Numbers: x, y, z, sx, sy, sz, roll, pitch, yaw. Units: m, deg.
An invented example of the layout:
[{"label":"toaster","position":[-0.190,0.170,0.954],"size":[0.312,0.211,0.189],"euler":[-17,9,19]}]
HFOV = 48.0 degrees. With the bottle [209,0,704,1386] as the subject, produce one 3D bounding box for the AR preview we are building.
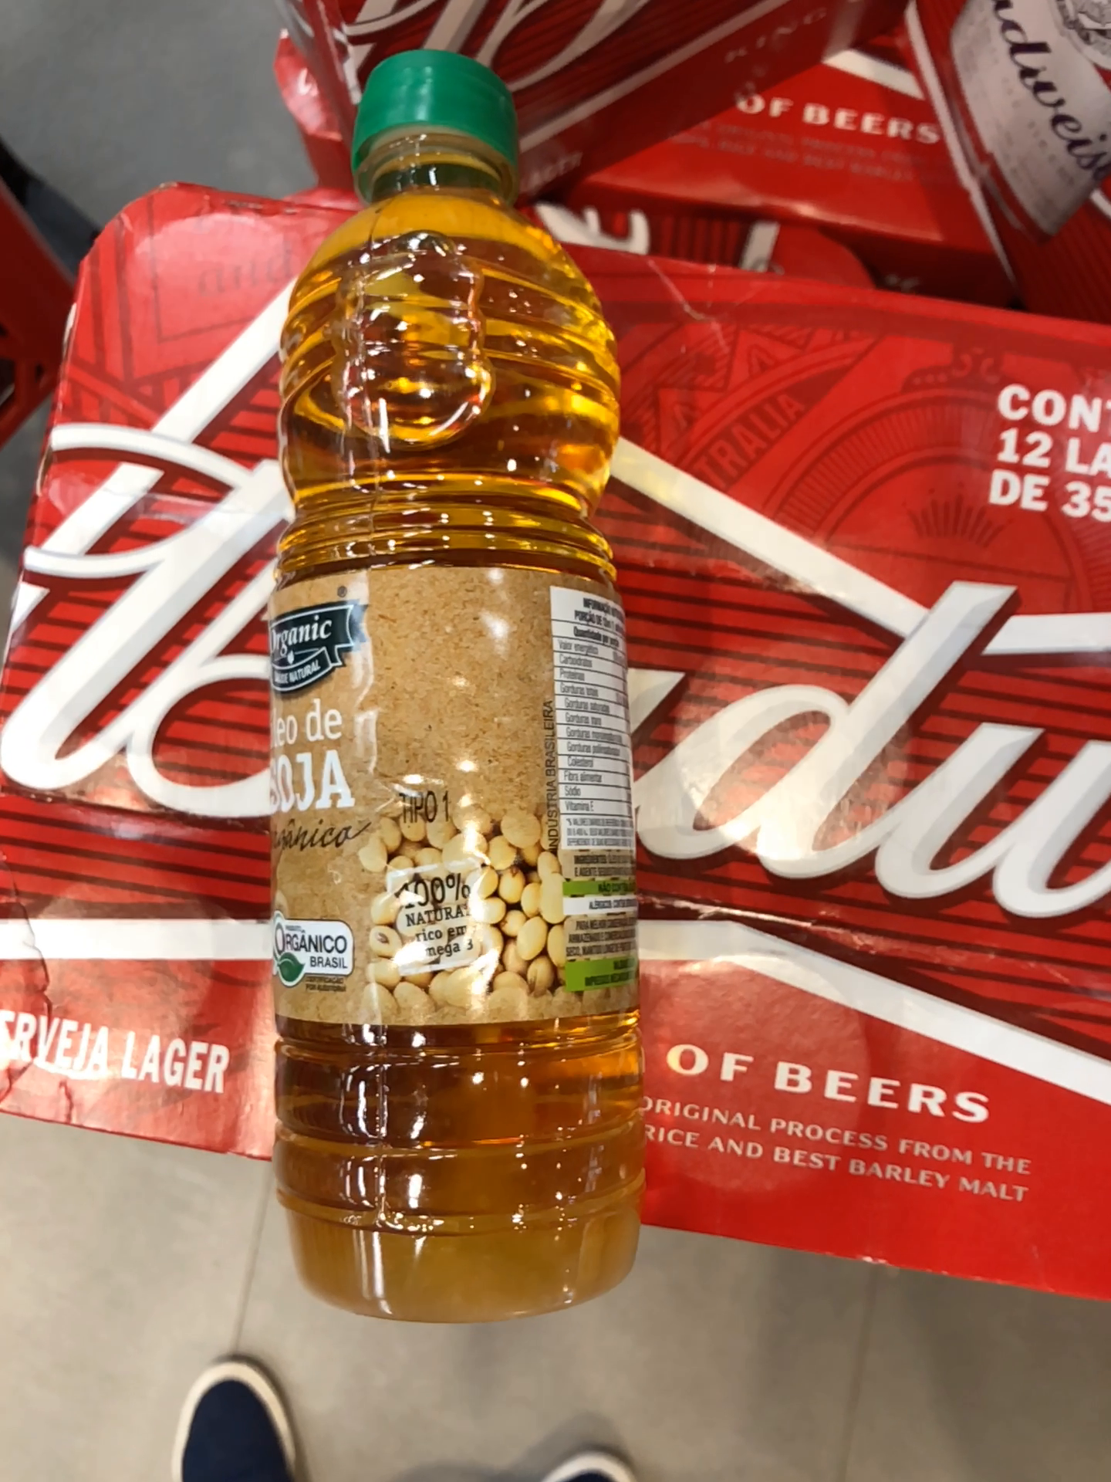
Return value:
[{"label":"bottle","position":[-0.021,-0.029,0.220],"size":[0.060,0.060,0.240],"euler":[3,83,-36]}]
